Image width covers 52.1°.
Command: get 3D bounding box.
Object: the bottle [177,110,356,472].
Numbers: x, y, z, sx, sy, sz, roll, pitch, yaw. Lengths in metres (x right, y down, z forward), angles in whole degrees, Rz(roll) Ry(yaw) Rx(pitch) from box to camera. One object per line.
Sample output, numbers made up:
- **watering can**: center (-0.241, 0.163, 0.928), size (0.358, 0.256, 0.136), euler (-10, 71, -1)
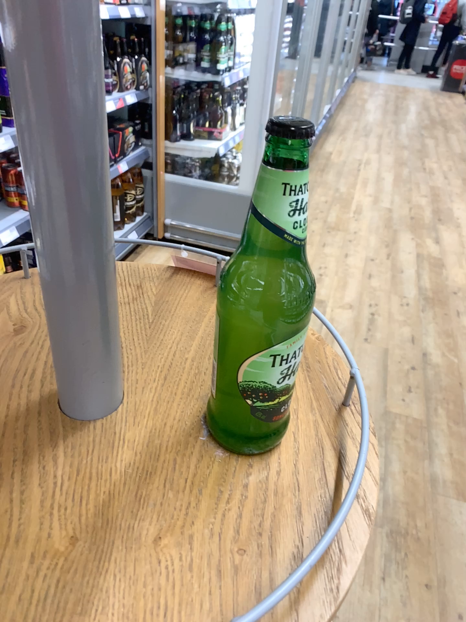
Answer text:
- **bottle**: center (0.014, -0.005, 0.341), size (0.078, 0.240, 0.070), euler (19, 35, 19)
